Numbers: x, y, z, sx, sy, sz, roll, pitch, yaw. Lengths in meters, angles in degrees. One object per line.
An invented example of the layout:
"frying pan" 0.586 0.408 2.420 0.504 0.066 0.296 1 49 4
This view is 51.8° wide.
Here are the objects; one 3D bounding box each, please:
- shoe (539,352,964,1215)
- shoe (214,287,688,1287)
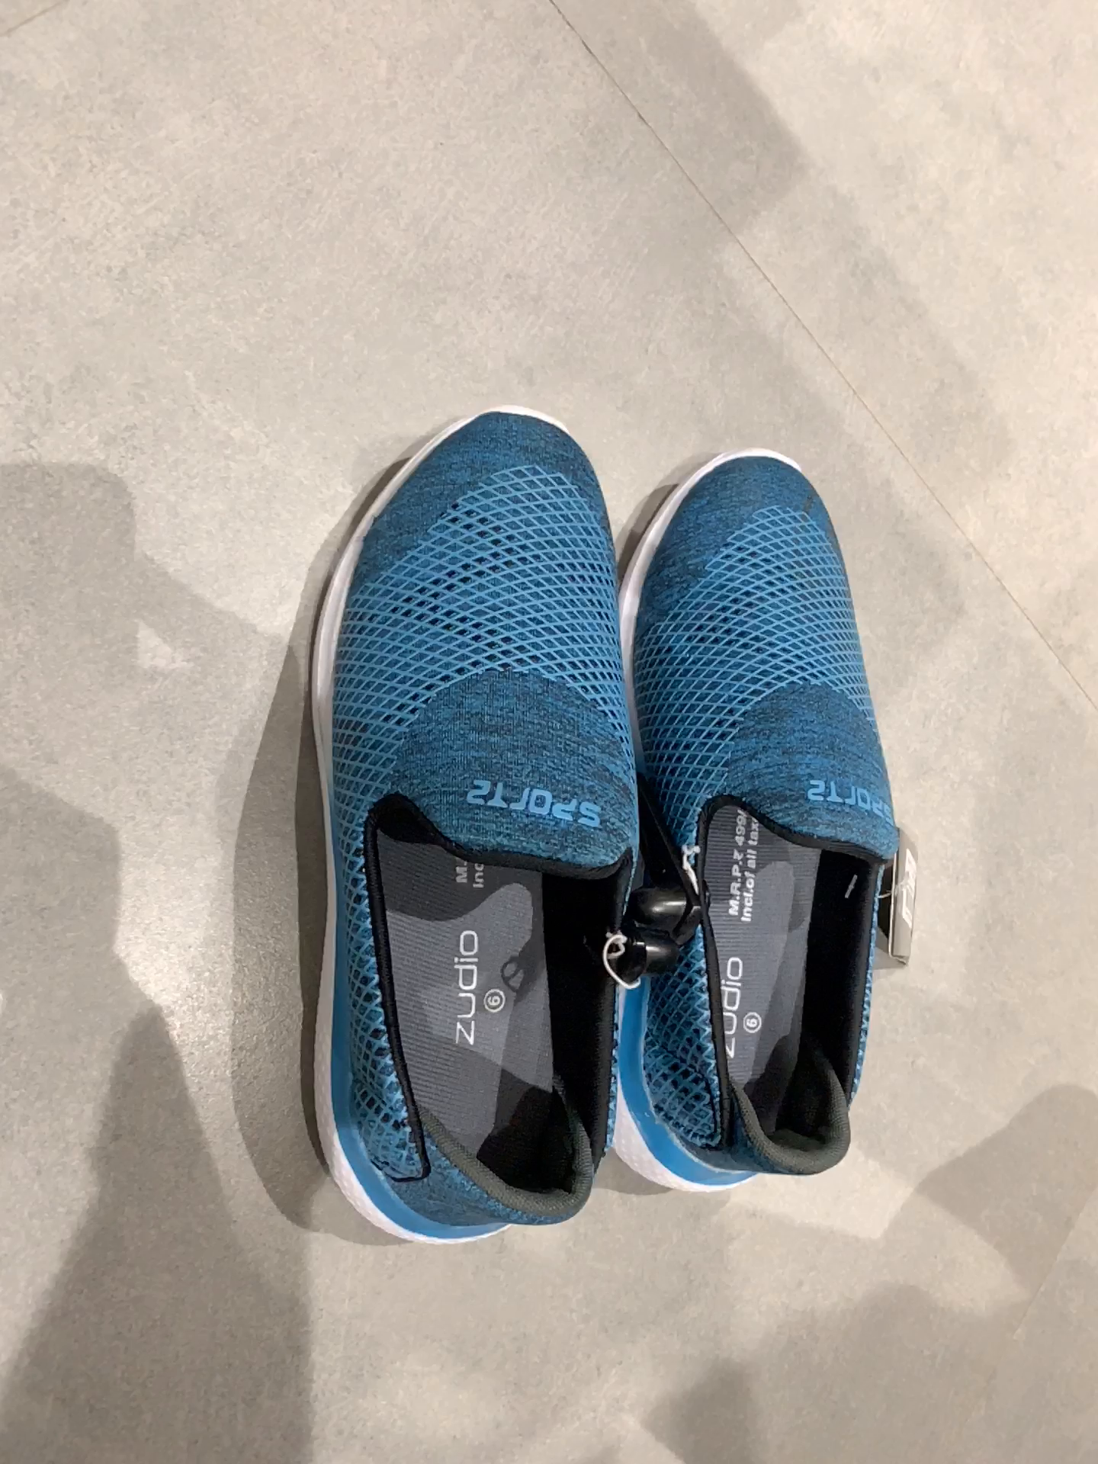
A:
"shoe" 0.068 0.019 0.377 0.090 0.080 0.250 11 79 -23
"shoe" -0.029 0.016 0.351 0.110 0.080 0.260 7 81 -24
